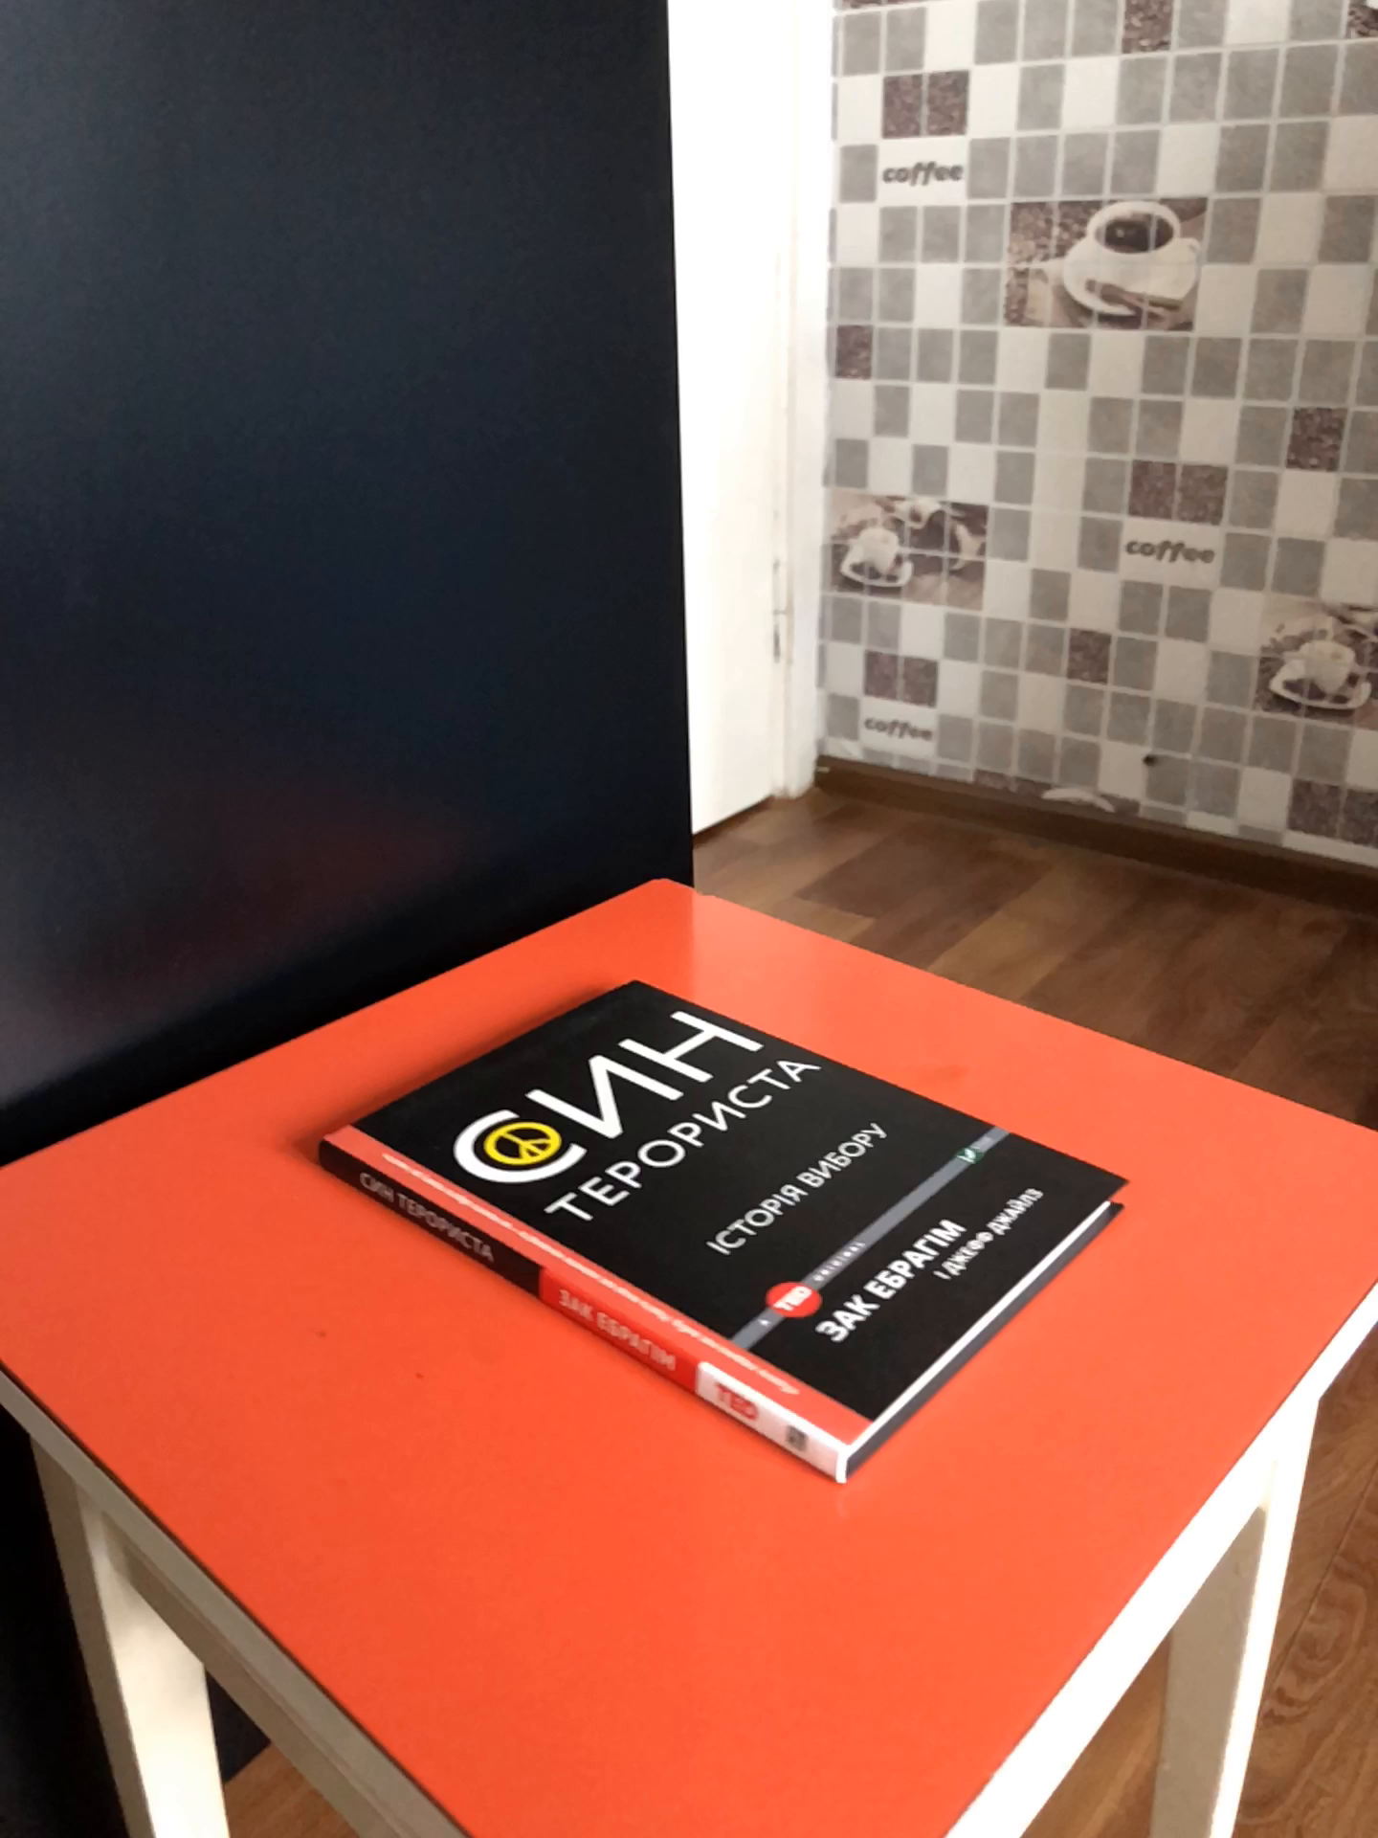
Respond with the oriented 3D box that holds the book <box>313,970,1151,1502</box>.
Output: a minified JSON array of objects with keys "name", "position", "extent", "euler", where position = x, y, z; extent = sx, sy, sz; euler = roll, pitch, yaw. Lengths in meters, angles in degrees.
[{"name":"book","position":[0.010,0.077,0.461],"extent":[0.206,0.013,0.150],"euler":[19,32,37]}]
